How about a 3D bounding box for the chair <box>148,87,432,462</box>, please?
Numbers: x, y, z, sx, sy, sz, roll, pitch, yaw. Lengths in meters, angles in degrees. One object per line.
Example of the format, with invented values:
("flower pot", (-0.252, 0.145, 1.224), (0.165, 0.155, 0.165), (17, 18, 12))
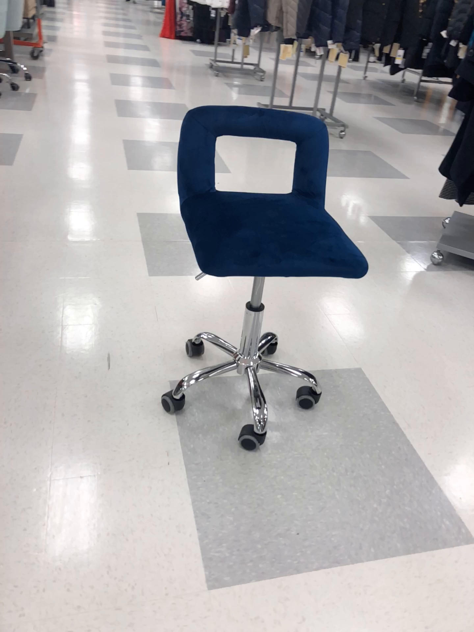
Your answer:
("chair", (0.036, -0.114, 1.286), (0.448, 0.719, 0.532), (-2, 33, -15))
